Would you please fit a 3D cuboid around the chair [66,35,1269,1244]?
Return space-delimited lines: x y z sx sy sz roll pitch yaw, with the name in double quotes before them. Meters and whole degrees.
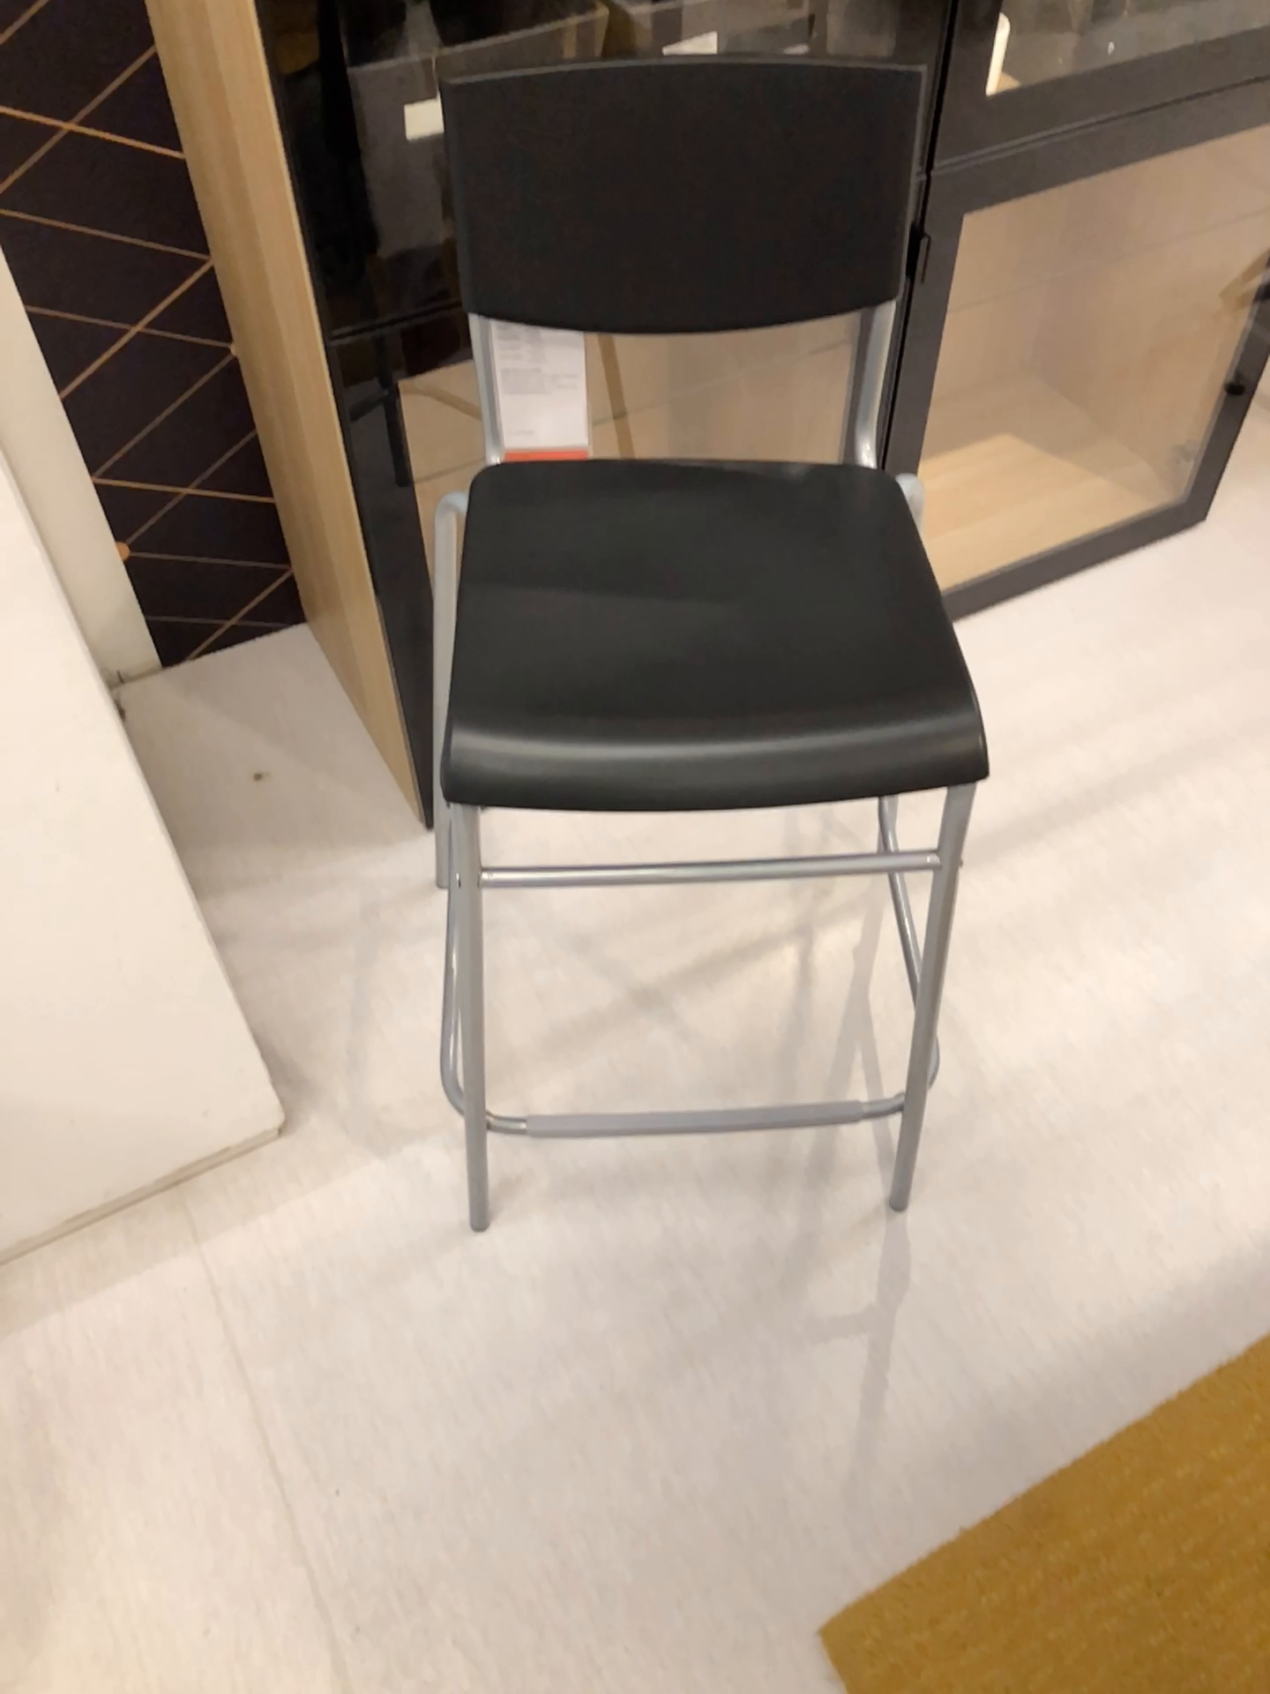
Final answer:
"chair" 0.020 -0.094 1.054 0.540 0.765 0.483 -2 51 -1
